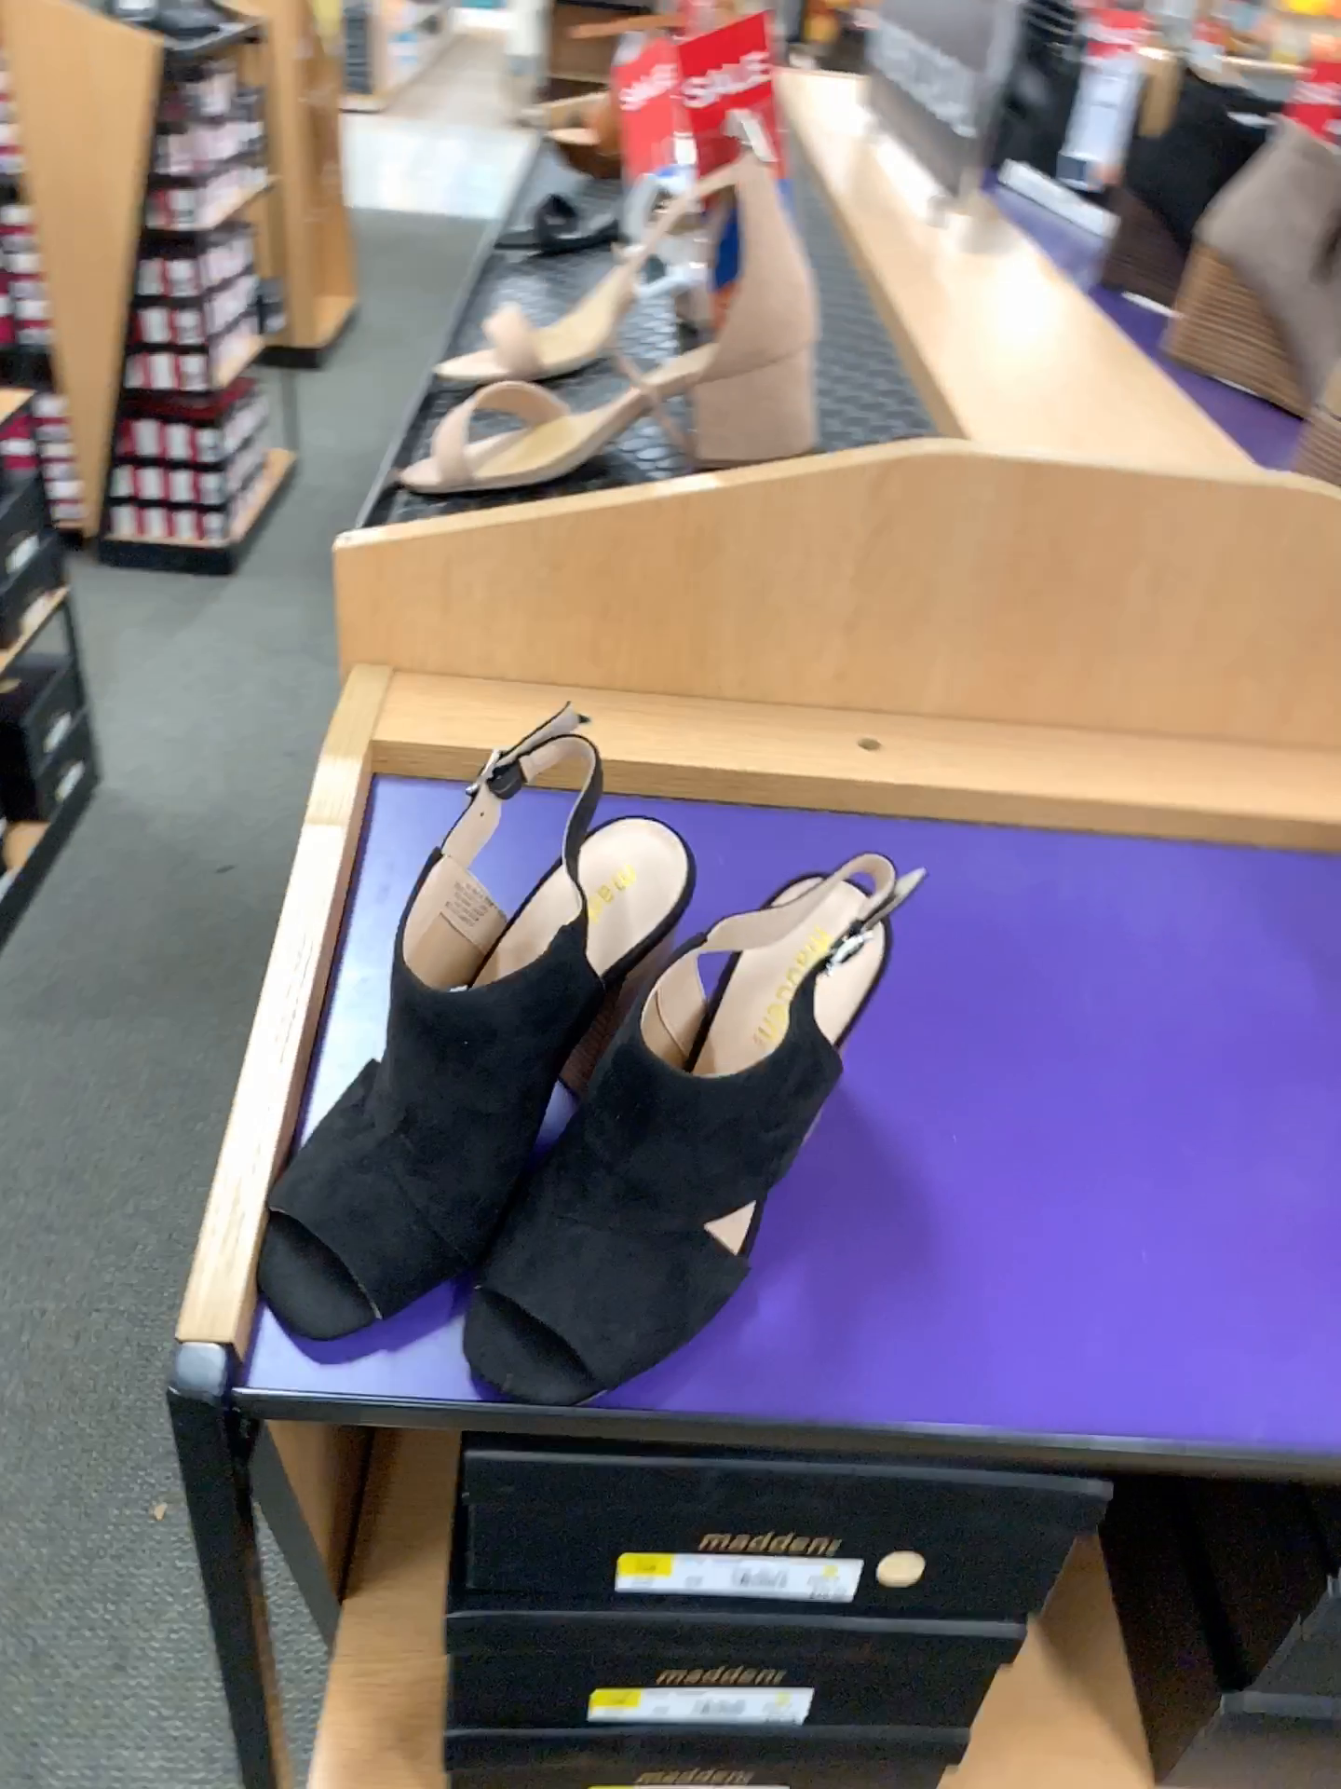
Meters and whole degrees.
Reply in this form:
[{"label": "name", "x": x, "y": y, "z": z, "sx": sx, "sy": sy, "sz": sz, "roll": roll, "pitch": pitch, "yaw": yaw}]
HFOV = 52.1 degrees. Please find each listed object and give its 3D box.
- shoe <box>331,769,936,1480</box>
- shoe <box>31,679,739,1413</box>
[{"label": "shoe", "x": 0.000, "y": 0.075, "z": 0.492, "sx": 0.080, "sy": 0.109, "sz": 0.221, "roll": 28, "pitch": 58, "yaw": 26}, {"label": "shoe", "x": -0.084, "y": 0.054, "z": 0.499, "sx": 0.080, "sy": 0.139, "sz": 0.221, "roll": 32, "pitch": 66, "yaw": 30}]
